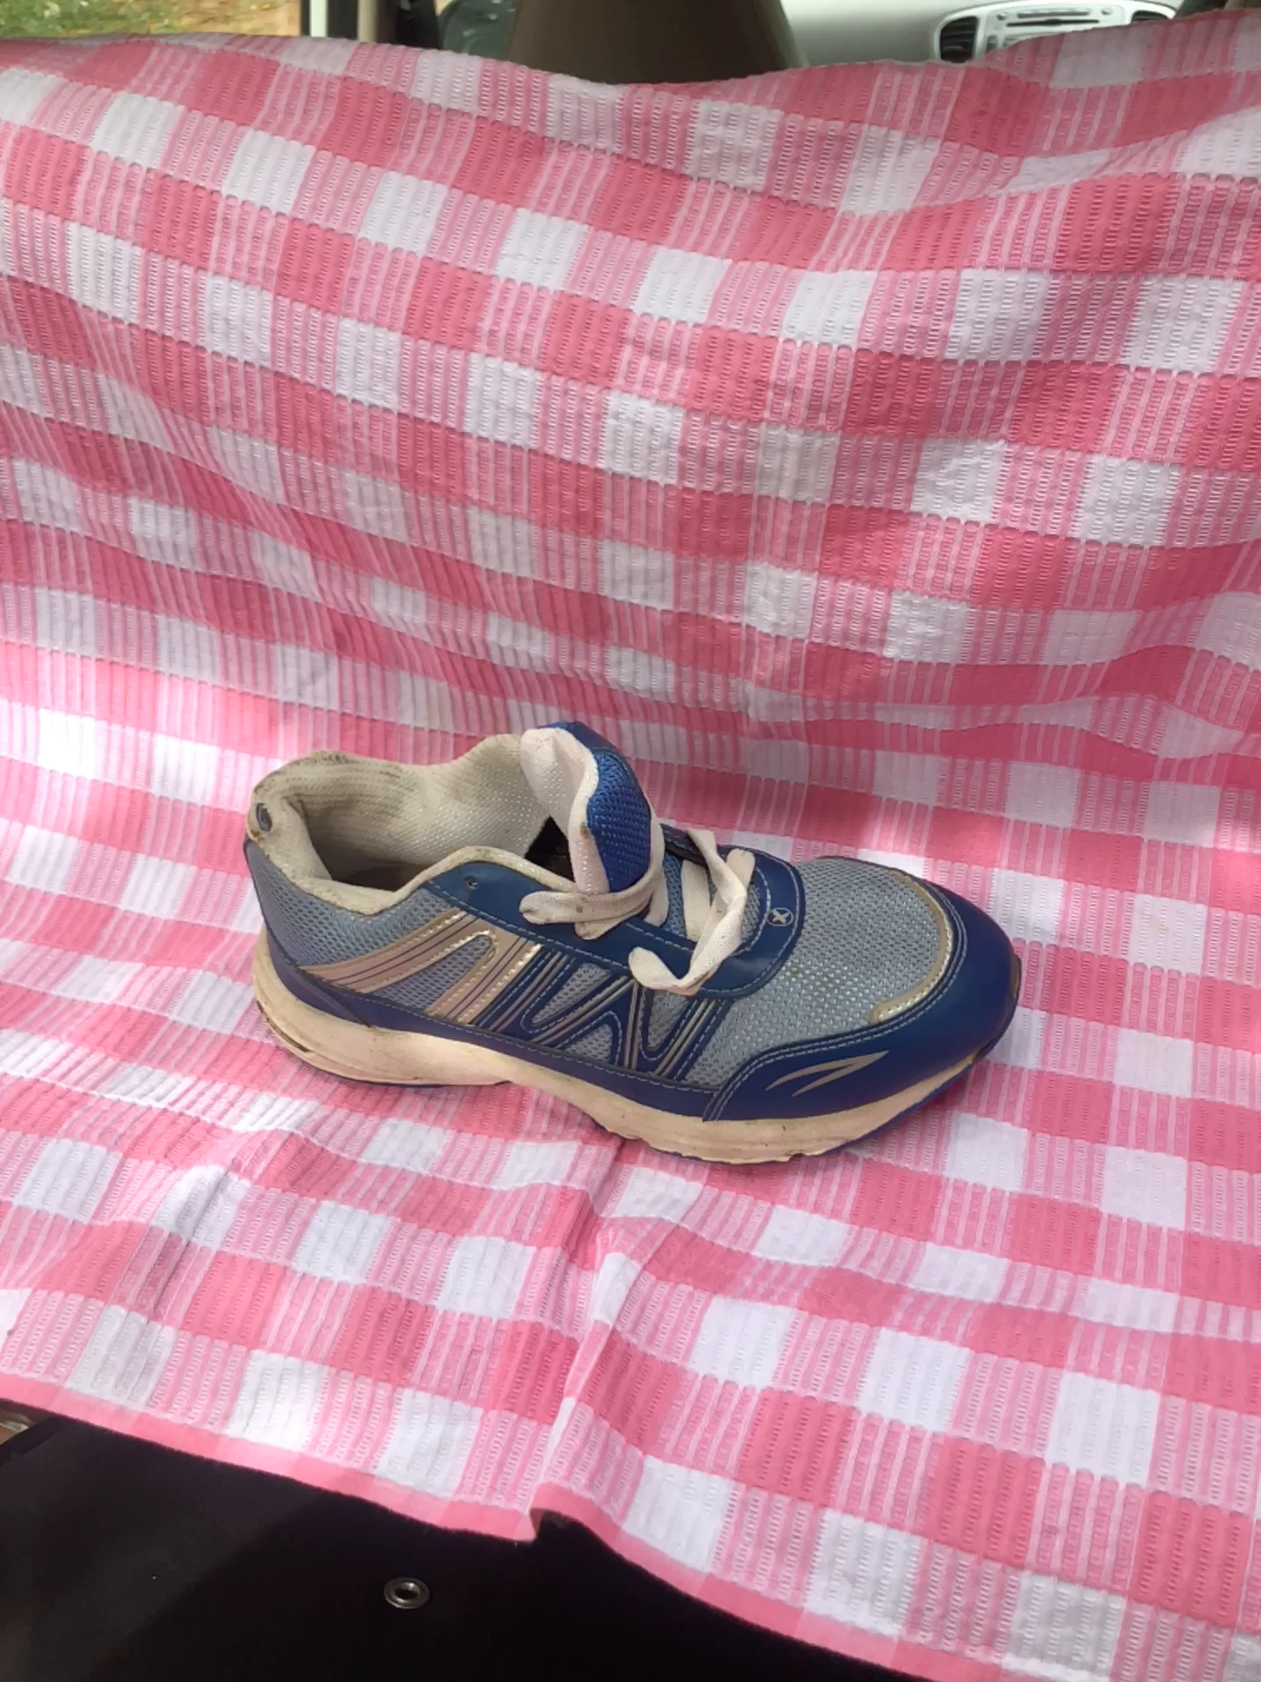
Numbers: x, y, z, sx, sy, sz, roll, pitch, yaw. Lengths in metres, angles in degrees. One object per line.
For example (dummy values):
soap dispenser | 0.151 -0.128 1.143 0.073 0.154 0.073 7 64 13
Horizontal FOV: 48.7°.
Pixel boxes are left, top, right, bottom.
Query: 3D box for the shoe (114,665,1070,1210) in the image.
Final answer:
shoe | -0.006 0.023 0.466 0.280 0.099 0.111 6 39 15
